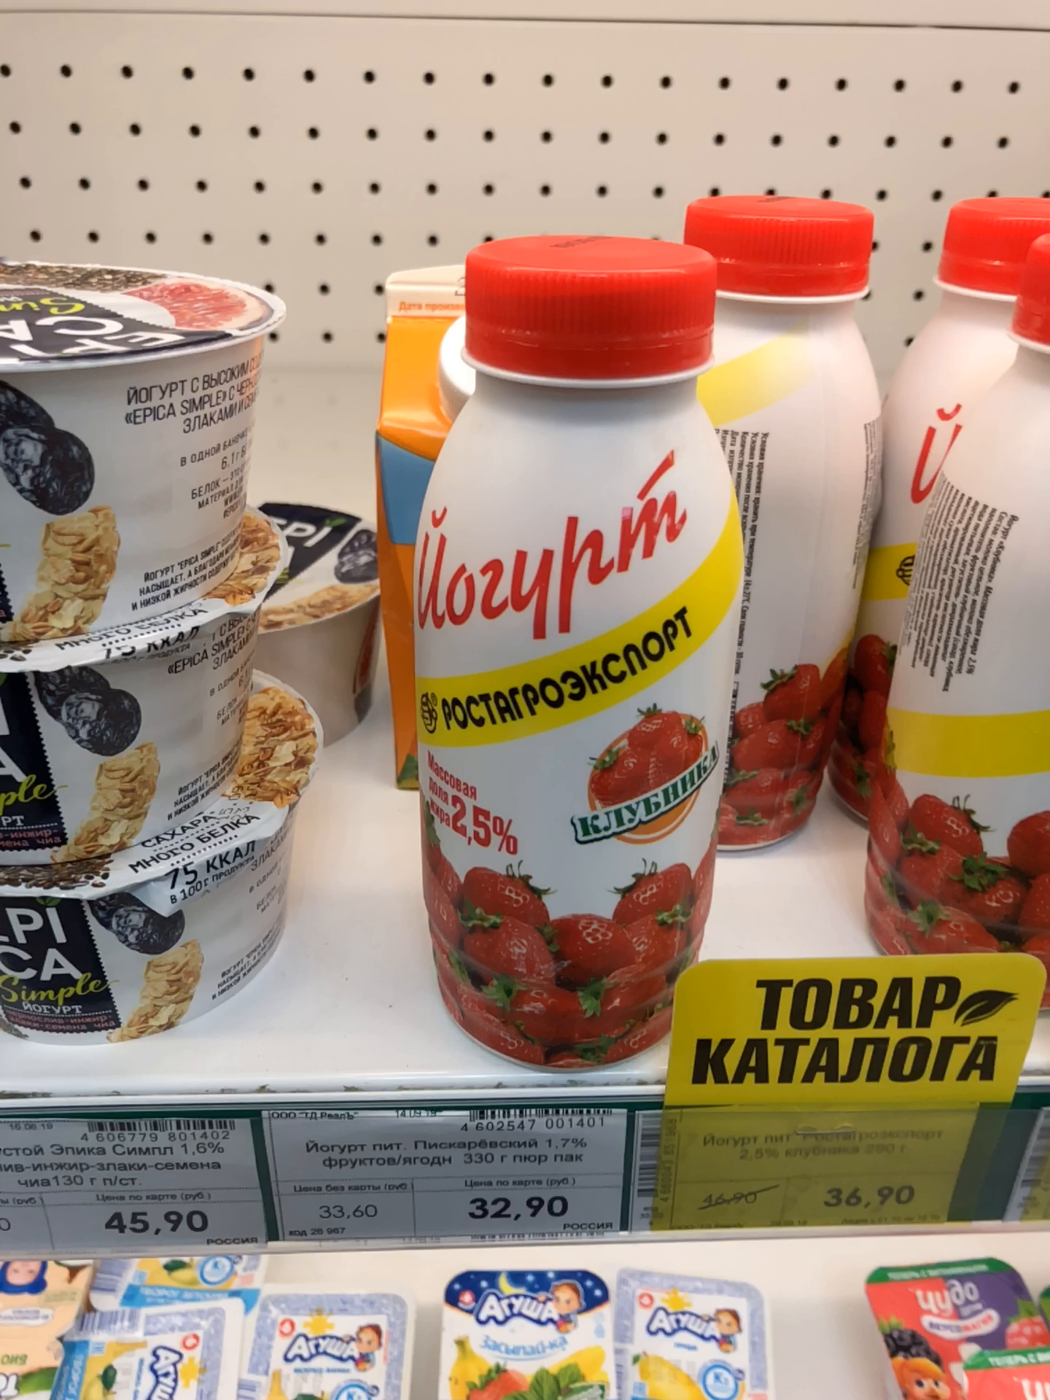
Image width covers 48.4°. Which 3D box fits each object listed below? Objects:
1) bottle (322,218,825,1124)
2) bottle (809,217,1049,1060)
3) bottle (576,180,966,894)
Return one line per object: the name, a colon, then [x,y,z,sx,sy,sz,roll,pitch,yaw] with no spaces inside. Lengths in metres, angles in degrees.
bottle: [0.009,-0.004,0.214,0.058,0.146,0.057,1,30,0]
bottle: [0.106,-0.011,0.229,0.058,0.146,0.057,1,30,0]
bottle: [0.052,-0.037,0.272,0.055,0.146,0.052,1,30,0]
